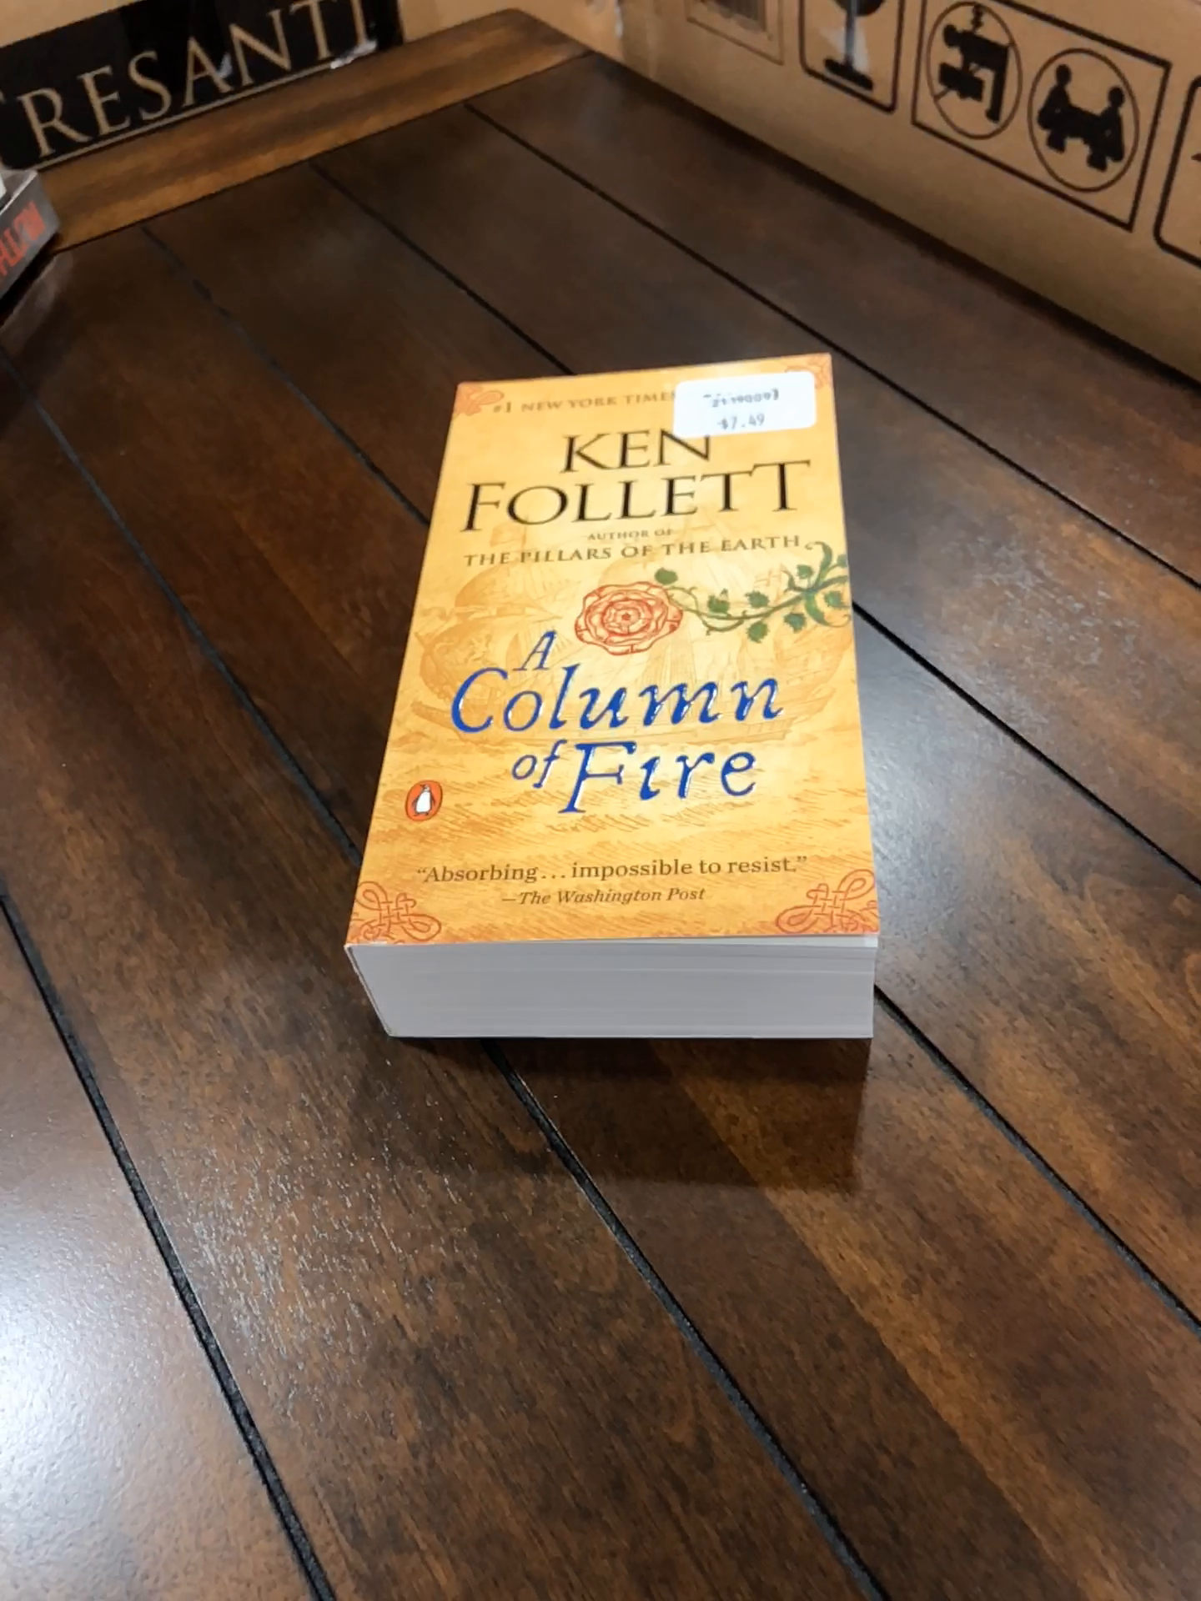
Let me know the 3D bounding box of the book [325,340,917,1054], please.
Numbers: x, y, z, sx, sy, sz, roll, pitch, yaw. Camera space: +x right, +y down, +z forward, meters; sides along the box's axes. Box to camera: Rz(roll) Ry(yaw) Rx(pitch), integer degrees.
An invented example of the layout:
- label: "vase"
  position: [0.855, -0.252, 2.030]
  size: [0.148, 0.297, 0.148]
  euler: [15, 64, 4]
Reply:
- label: "book"
  position: [0.010, -0.036, 0.325]
  size: [0.110, 0.040, 0.196]
  euler: [-1, 51, 6]
